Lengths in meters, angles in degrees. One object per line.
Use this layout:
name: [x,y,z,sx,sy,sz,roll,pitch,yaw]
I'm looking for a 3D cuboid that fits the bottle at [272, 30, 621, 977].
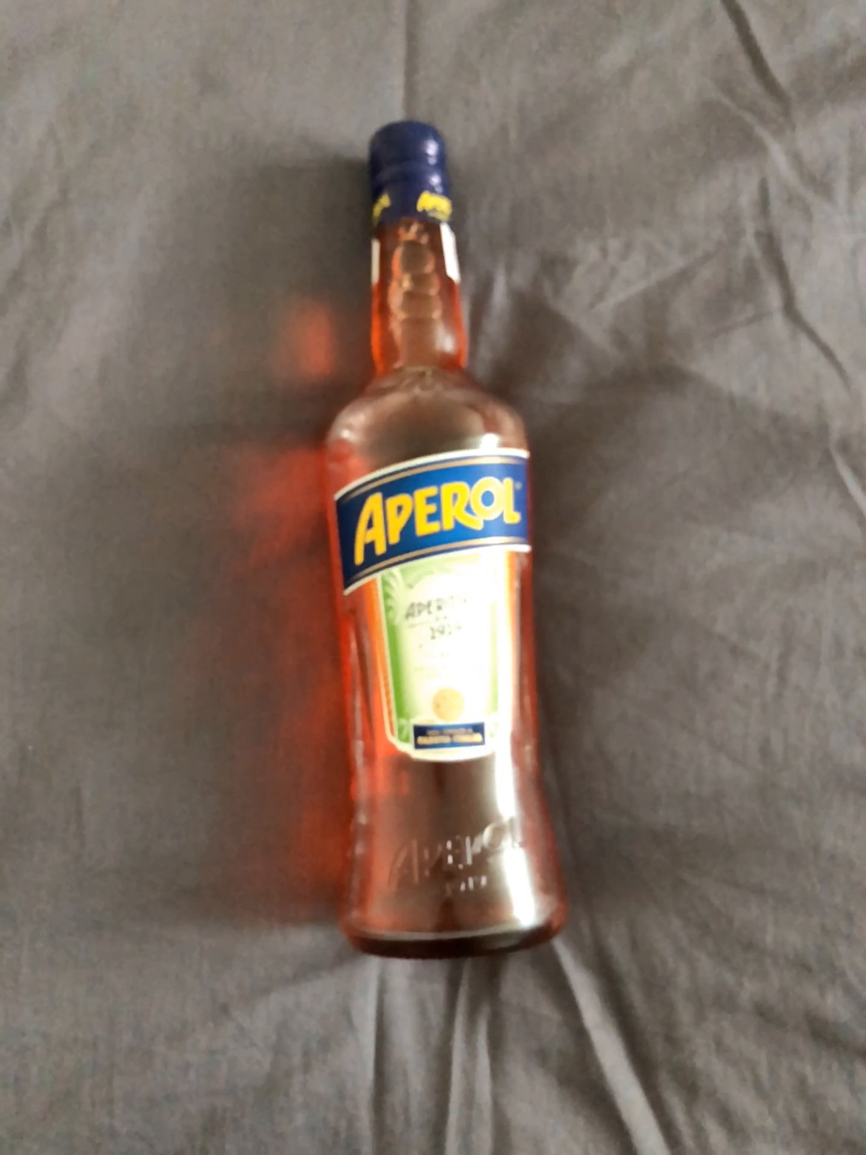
bottle: [0.000,-0.032,0.357,0.100,0.070,0.320,-3,80,0]
